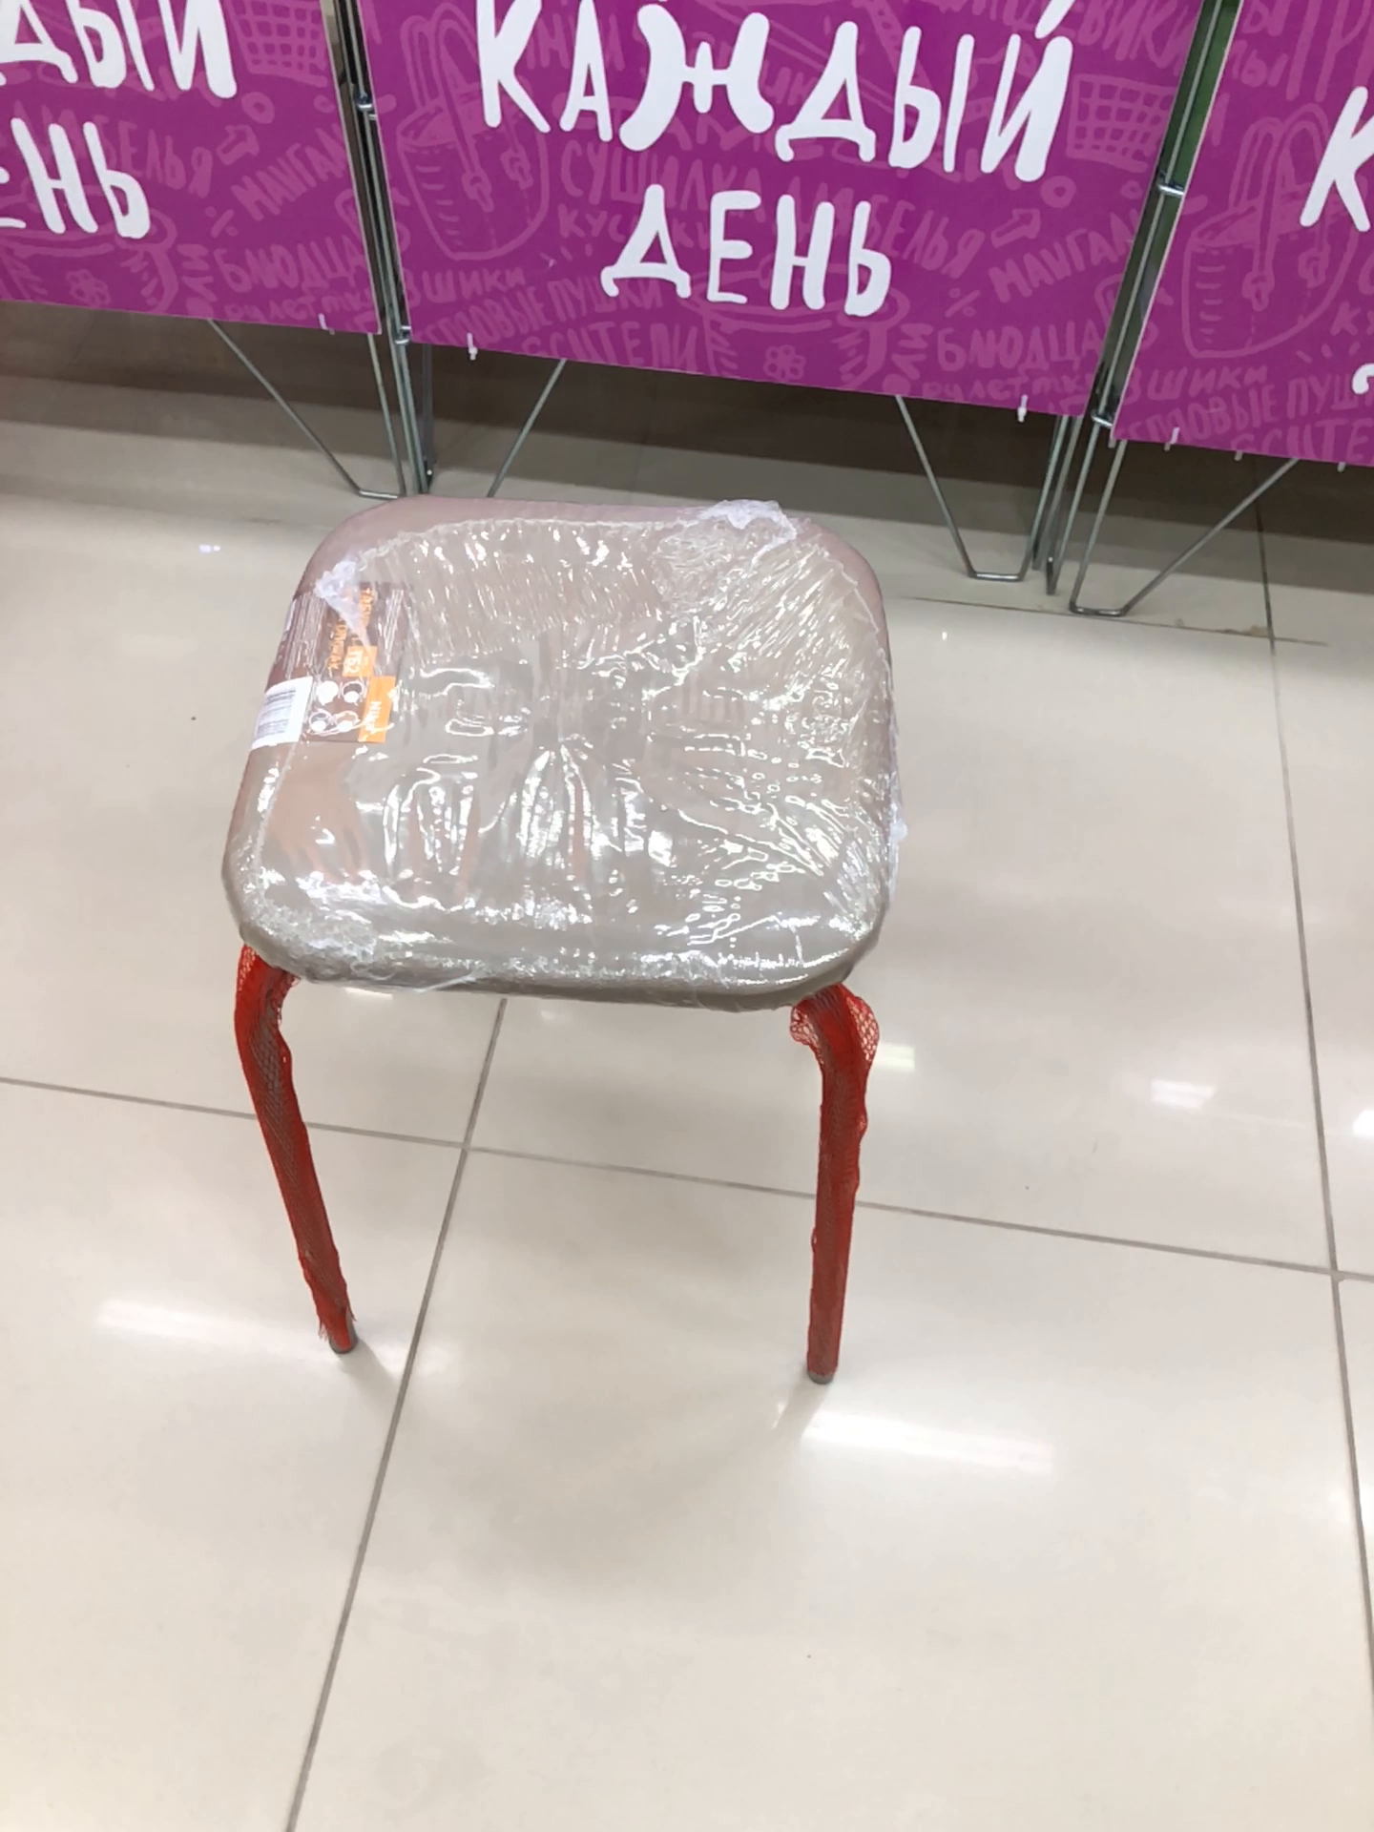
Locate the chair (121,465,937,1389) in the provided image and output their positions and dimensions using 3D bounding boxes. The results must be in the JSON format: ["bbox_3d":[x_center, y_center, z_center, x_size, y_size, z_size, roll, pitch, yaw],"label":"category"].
[{"bbox_3d":[-0.056,0.031,0.879,0.330,0.438,0.332,4,55,2],"label":"chair"}]
